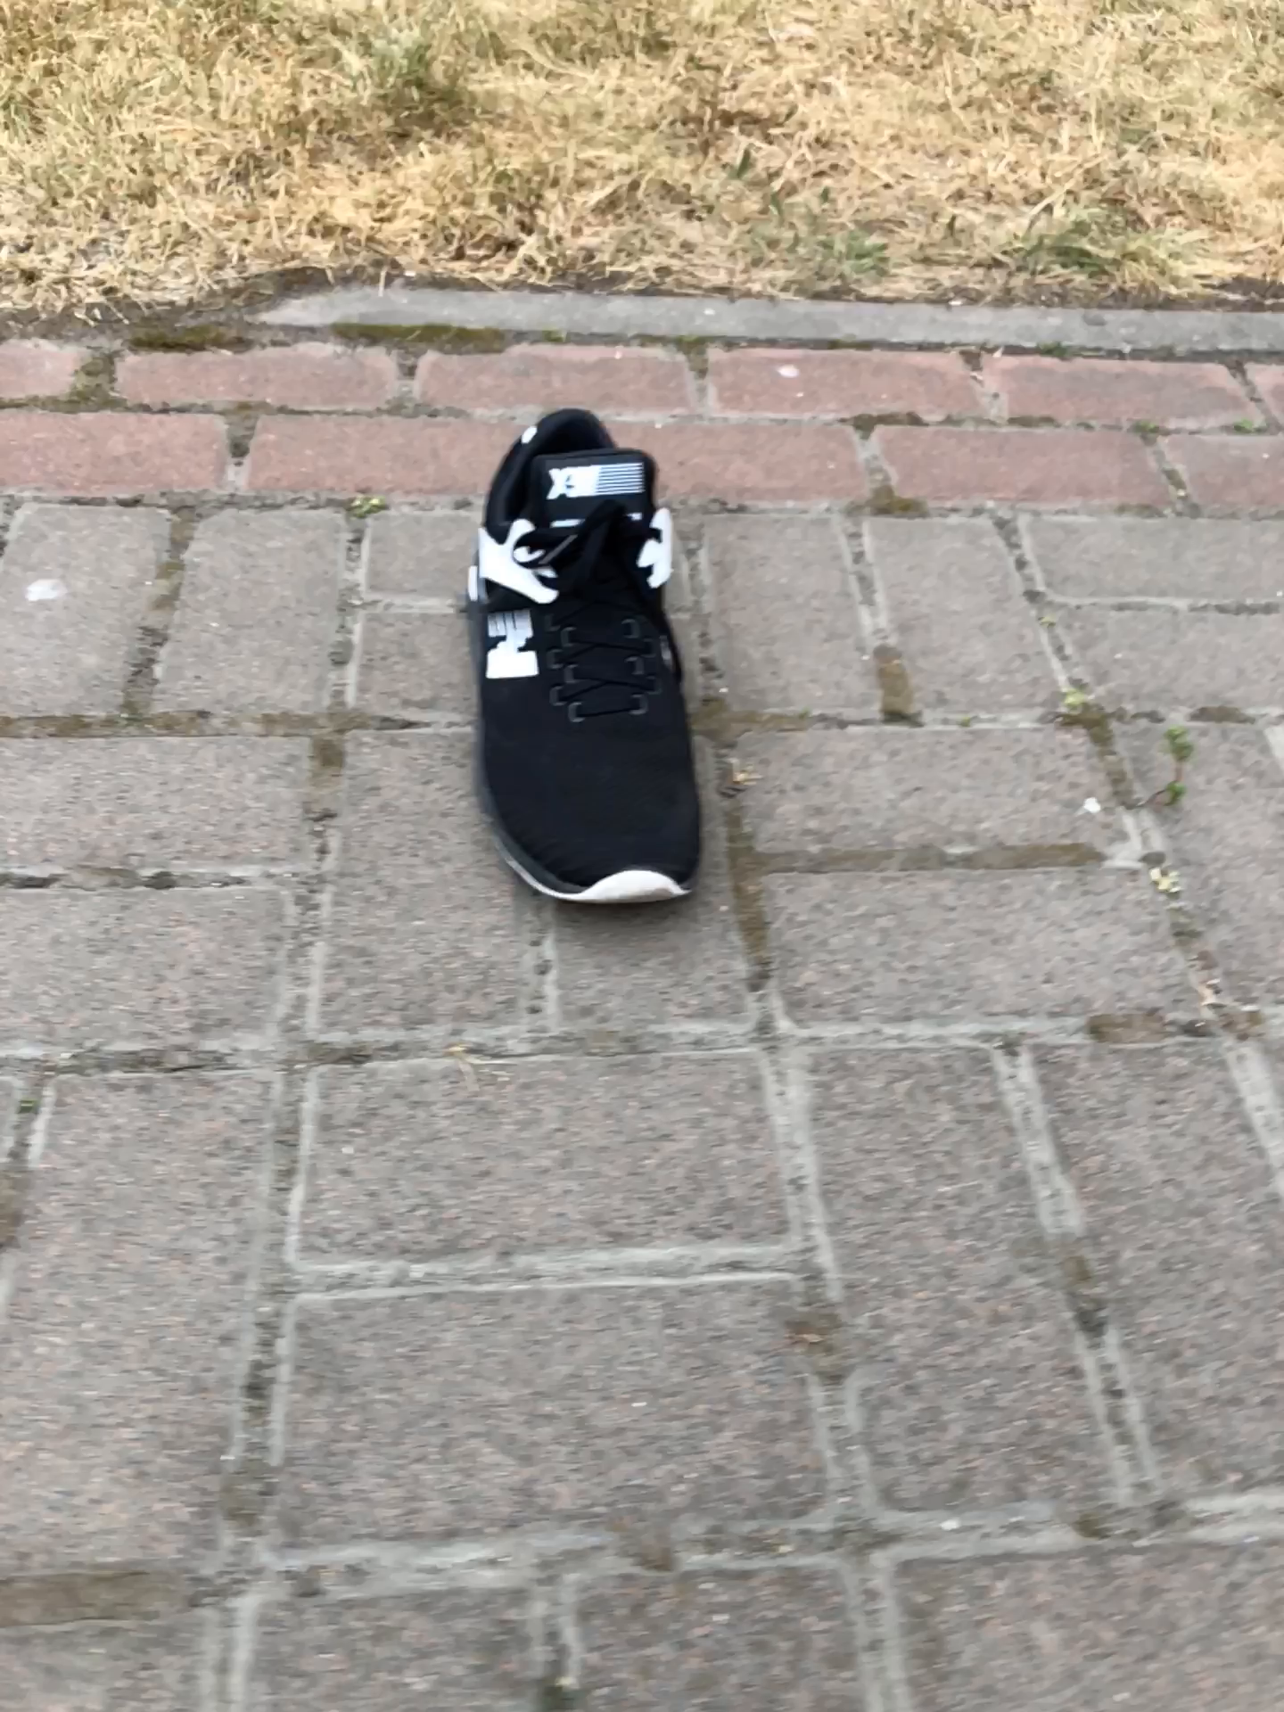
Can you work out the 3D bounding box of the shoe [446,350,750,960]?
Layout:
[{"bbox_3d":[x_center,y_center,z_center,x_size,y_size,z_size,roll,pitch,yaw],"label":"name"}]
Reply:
[{"bbox_3d":[-0.033,-0.105,0.657,0.100,0.129,0.282,-3,48,-8],"label":"shoe"}]
